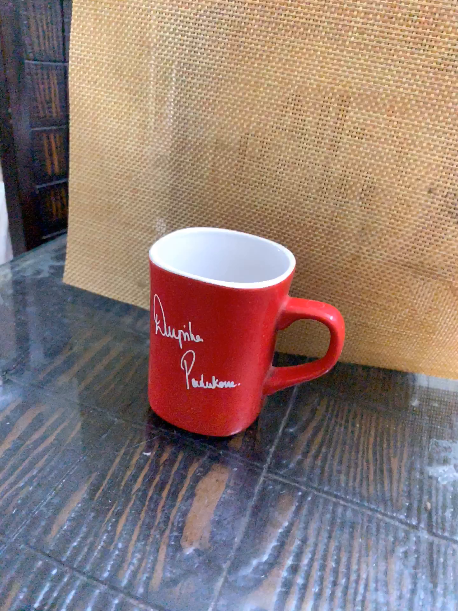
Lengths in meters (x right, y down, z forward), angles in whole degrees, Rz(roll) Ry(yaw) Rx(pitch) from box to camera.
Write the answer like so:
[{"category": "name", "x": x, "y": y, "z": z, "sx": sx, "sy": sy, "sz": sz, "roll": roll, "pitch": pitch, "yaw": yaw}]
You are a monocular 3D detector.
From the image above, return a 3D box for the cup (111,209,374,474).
[{"category": "cup", "x": 0.006, "y": 0.010, "z": 0.234, "sx": 0.100, "sy": 0.079, "sz": 0.070, "roll": 17, "pitch": 29, "yaw": 18}]
